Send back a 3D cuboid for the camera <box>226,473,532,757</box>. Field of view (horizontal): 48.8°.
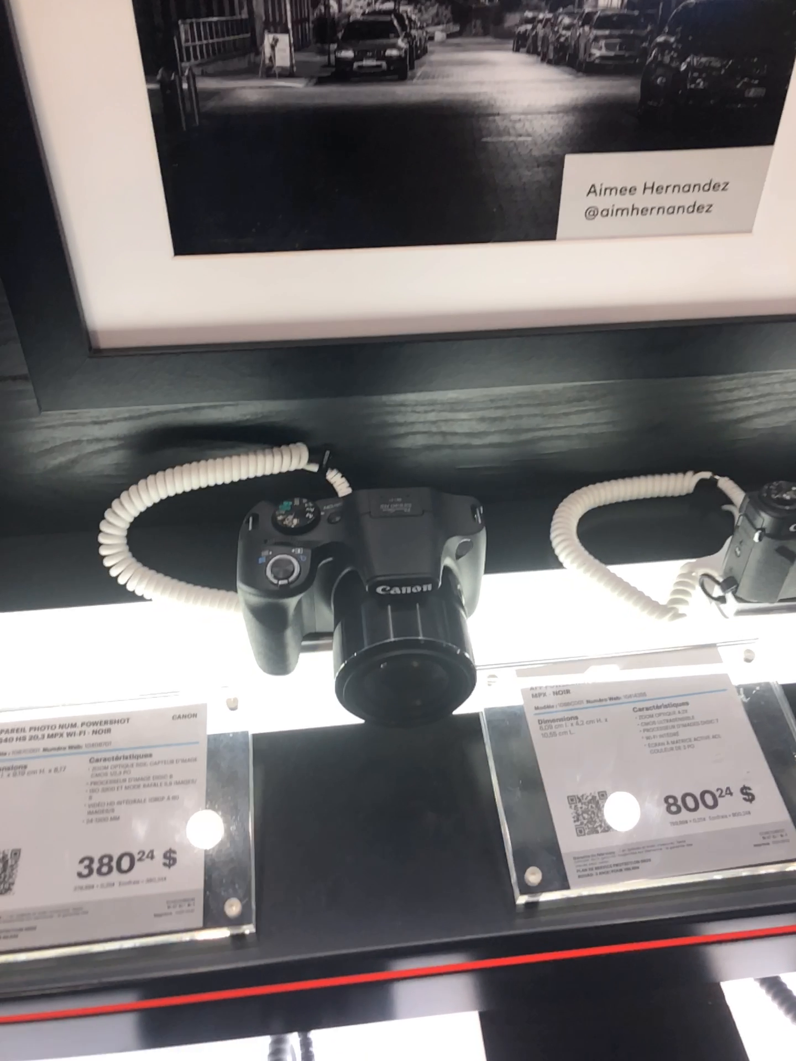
[{"bbox_3d":[-0.011,0.039,0.407,0.122,0.099,0.071,-4,38,-6],"label":"camera"}]
